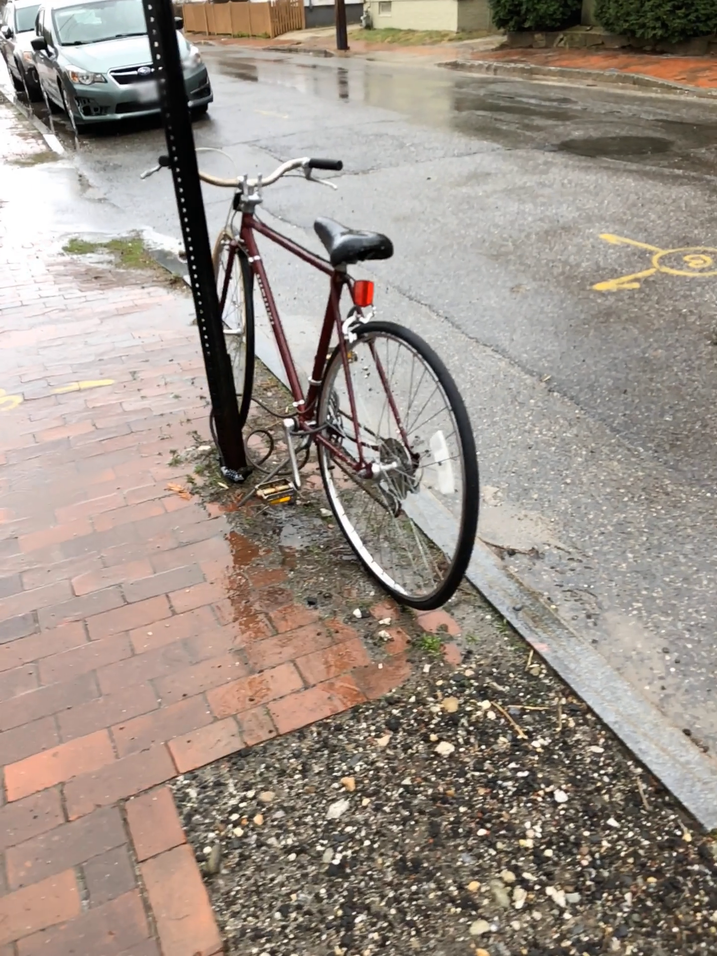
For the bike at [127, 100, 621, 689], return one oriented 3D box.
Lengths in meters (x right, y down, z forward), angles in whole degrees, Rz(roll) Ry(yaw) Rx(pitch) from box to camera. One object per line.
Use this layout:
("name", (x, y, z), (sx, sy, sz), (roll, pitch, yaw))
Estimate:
("bike", (-0.106, -0.406, 2.109), (0.500, 0.907, 1.613), (-16, 36, -22))
